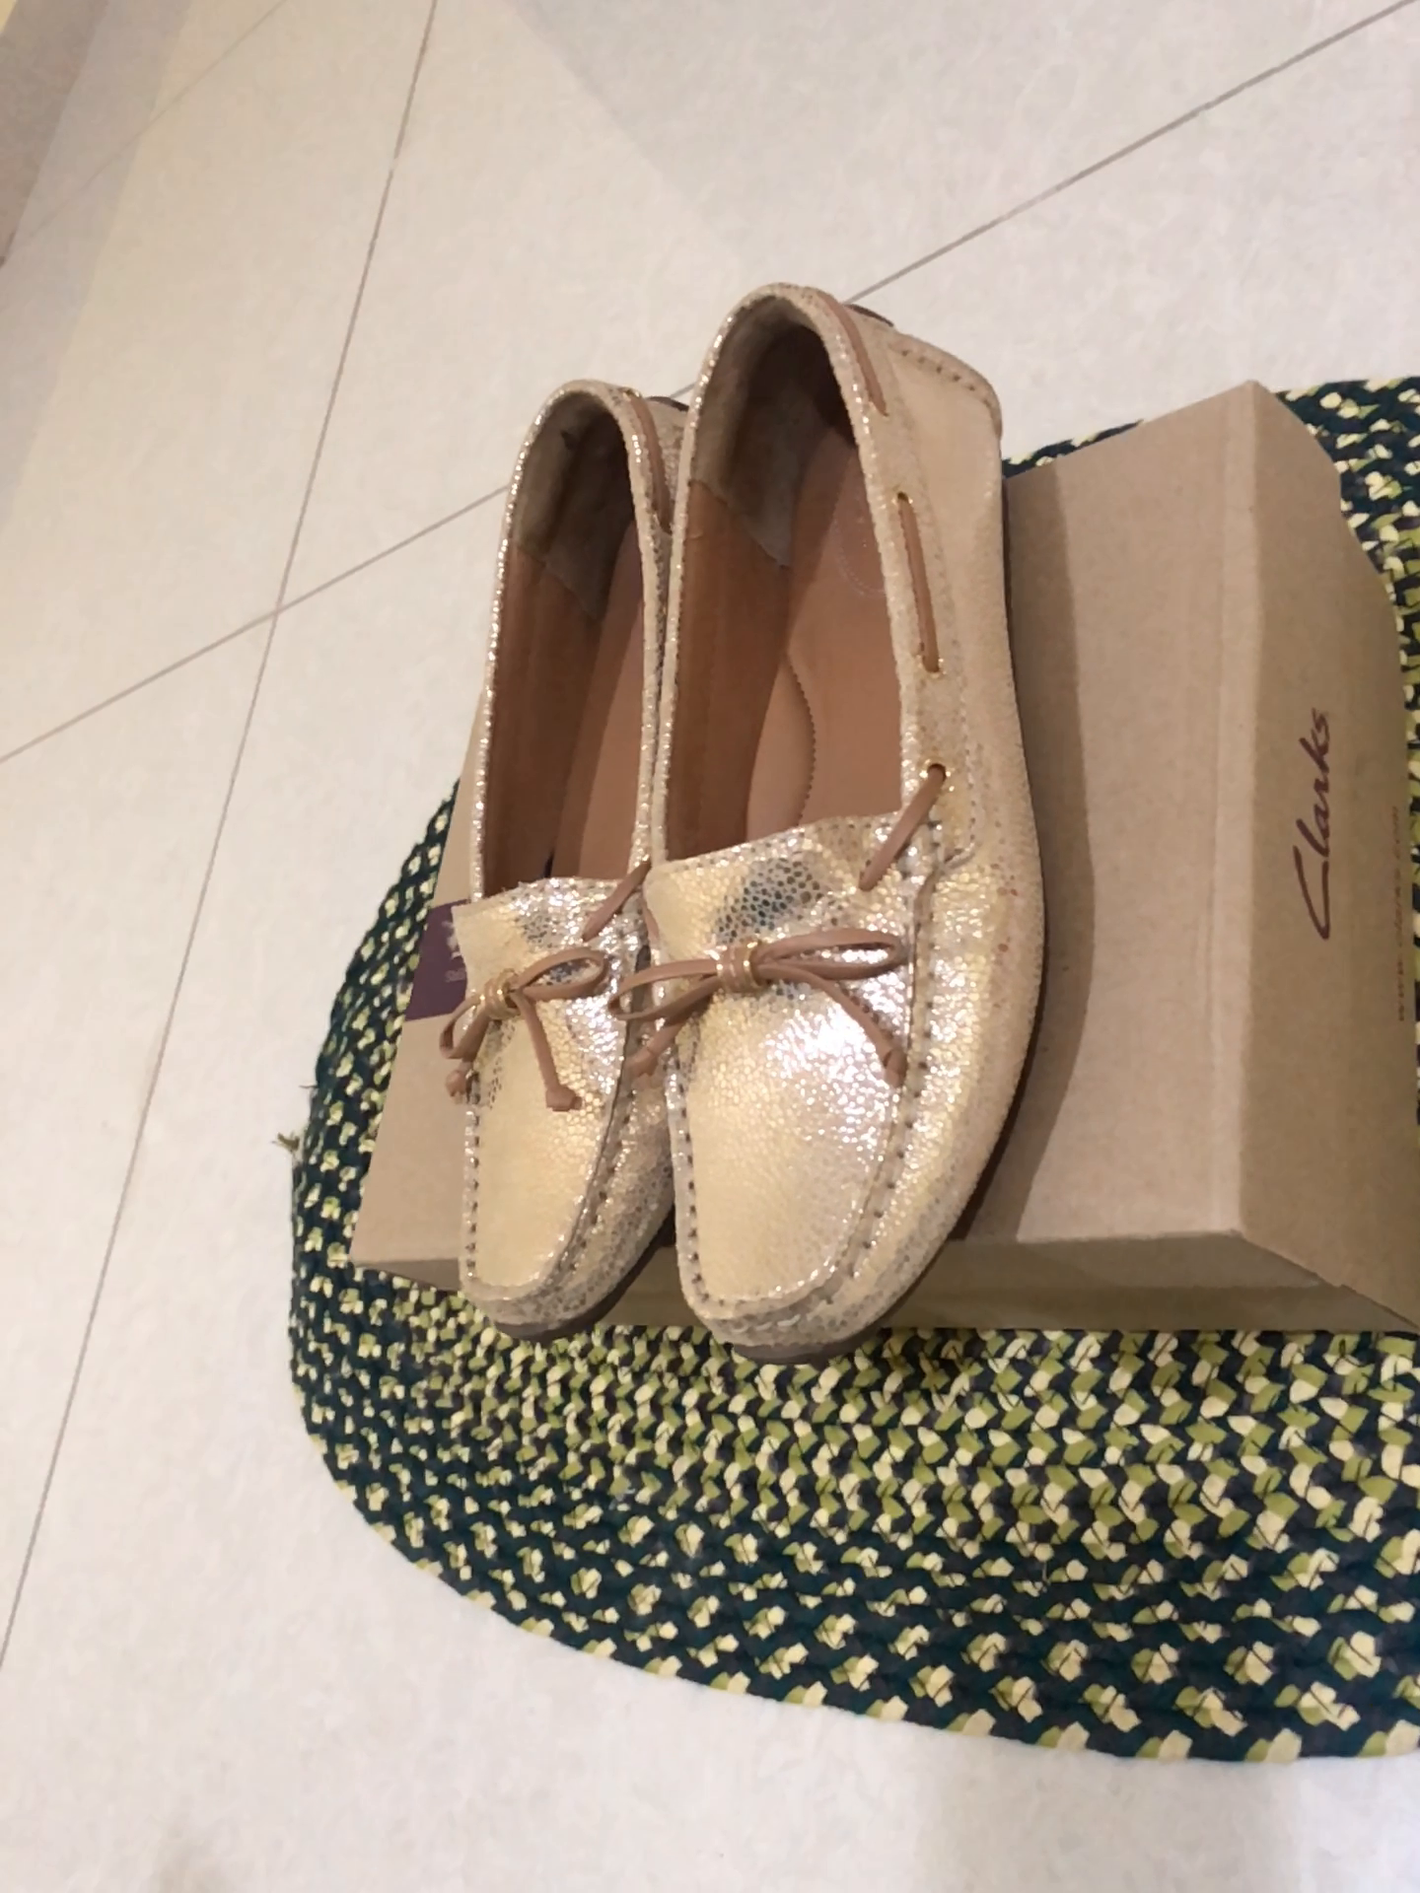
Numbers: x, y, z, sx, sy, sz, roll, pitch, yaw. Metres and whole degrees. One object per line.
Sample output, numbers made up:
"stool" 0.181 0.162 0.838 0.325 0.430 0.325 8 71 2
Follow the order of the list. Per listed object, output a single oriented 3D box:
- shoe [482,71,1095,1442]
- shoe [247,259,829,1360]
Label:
"shoe" 0.028 -0.052 0.367 0.090 0.060 0.310 -12 59 39
"shoe" -0.037 -0.039 0.416 0.090 0.060 0.280 -12 59 39
